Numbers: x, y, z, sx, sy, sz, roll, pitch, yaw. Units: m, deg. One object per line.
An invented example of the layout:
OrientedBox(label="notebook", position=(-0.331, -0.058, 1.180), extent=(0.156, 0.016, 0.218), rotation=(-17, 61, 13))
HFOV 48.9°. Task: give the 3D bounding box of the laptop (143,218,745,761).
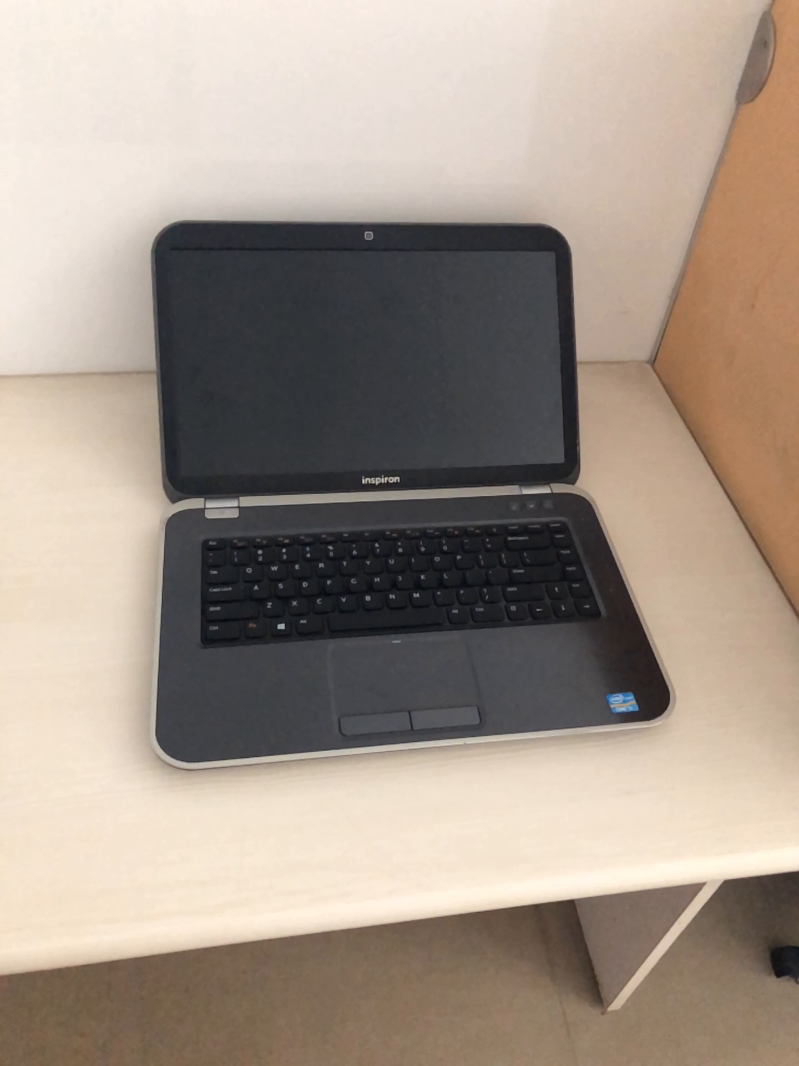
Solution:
OrientedBox(label="laptop", position=(-0.003, -0.065, 0.674), extent=(0.339, 0.152, 0.411), rotation=(-3, 48, -9))
